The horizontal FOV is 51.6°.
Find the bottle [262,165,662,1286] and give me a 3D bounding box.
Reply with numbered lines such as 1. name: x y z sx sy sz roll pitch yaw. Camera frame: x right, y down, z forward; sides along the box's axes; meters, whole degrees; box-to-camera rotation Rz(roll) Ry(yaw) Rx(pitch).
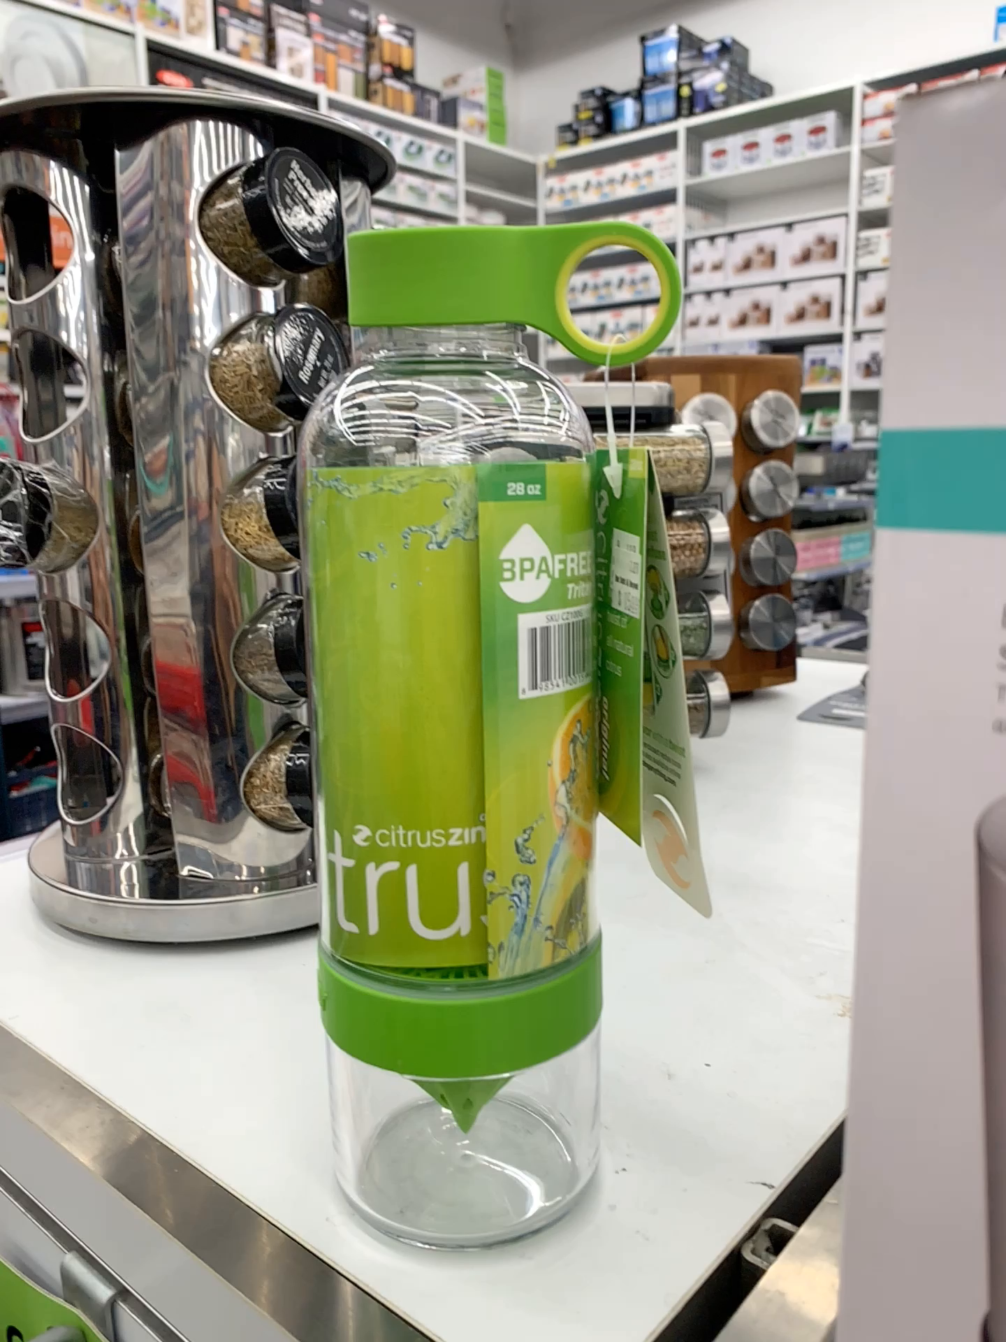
1. bottle: -0.013 0.015 0.273 0.081 0.251 0.078 -1 11 0
